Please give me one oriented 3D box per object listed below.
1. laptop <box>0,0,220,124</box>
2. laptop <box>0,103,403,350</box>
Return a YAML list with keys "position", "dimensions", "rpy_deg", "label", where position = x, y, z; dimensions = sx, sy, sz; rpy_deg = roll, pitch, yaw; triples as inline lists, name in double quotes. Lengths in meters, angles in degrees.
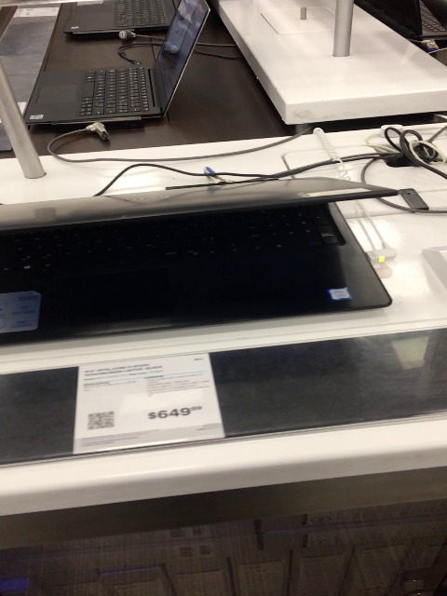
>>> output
- position: [-0.202, -0.455, 1.051]
  dimensions: [0.341, 0.159, 0.261]
  rpy_deg: [-7, 42, 0]
  label: "laptop"
- position: [-0.082, -0.085, 0.608]
  dimensions: [0.431, 0.107, 0.244]
  rpy_deg: [-6, 43, -1]
  label: "laptop"
